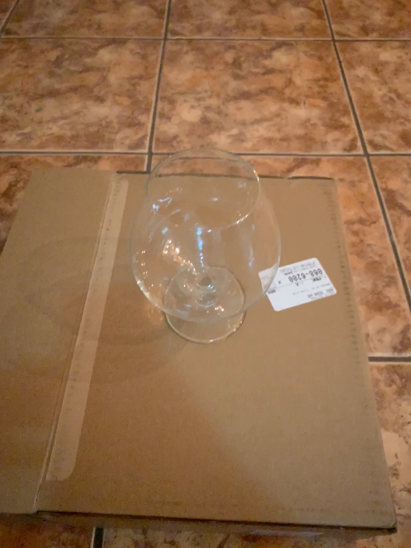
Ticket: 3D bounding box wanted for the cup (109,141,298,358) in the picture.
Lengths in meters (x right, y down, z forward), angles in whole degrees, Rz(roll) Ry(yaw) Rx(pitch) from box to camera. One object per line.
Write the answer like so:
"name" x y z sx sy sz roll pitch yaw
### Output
"cup" -0.001 -0.008 0.325 0.105 0.158 0.085 -1 56 0
